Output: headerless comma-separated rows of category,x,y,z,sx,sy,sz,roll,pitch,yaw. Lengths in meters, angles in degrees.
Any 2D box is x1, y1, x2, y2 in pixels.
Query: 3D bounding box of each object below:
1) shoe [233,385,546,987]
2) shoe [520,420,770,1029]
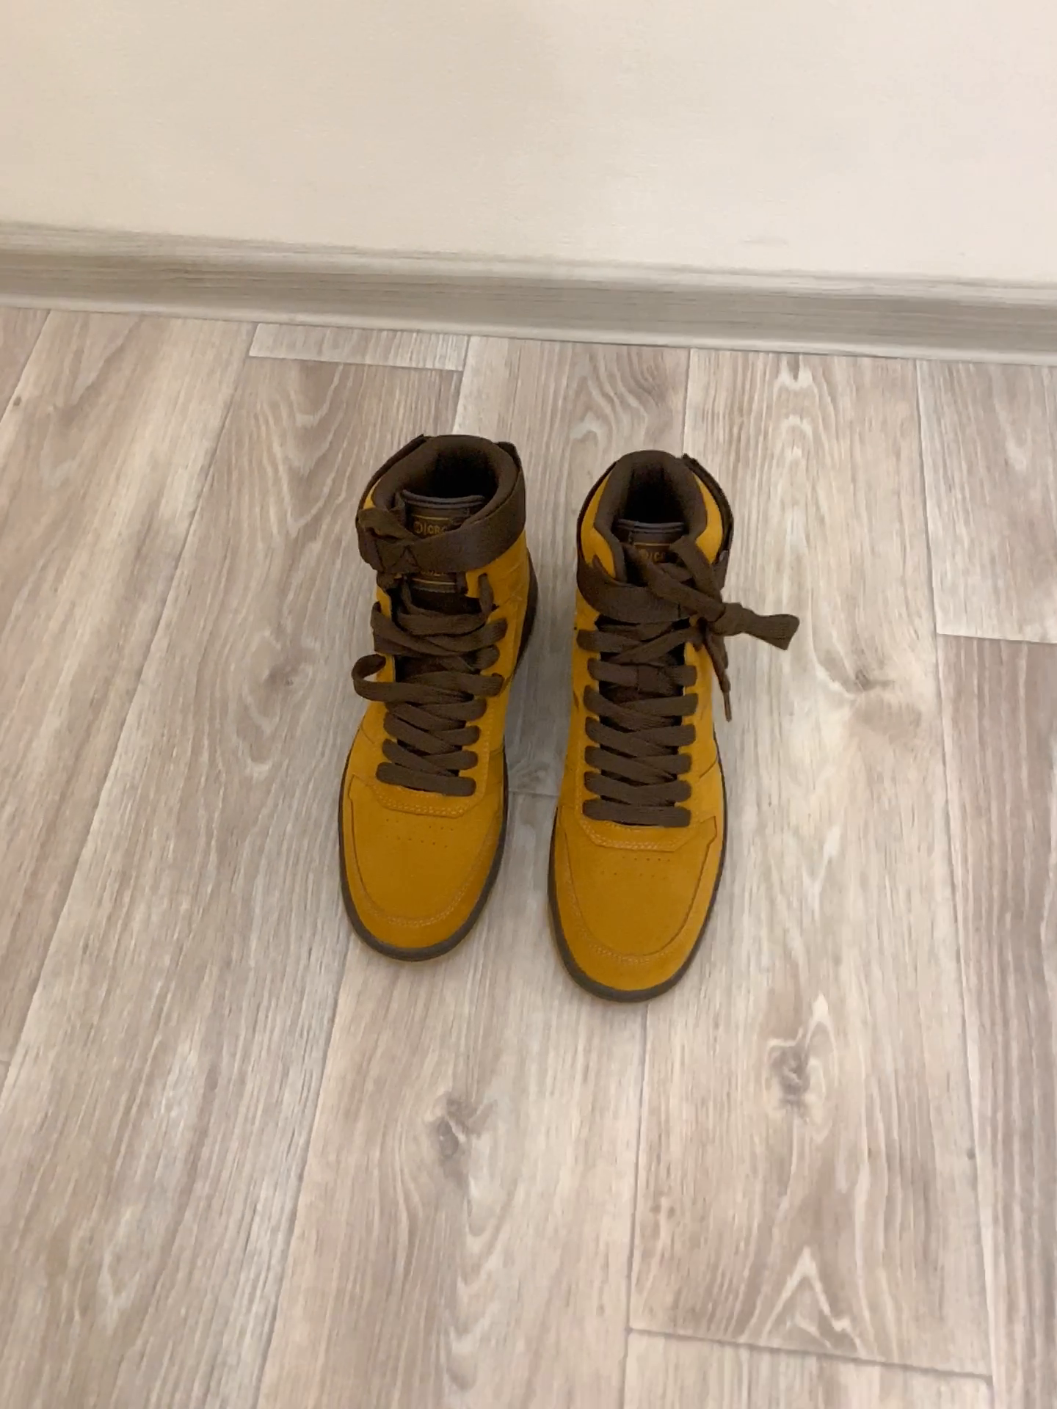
shoe,-0.056,-0.013,0.573,0.101,0.140,0.281,5,61,4
shoe,0.064,0.008,0.569,0.101,0.140,0.281,5,61,4
